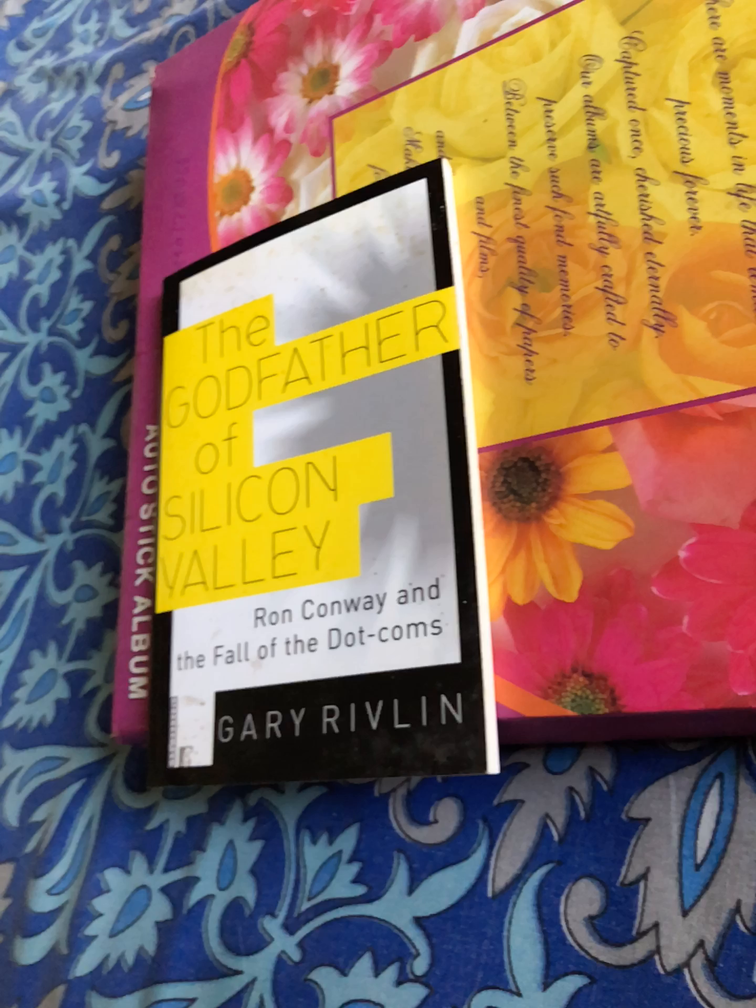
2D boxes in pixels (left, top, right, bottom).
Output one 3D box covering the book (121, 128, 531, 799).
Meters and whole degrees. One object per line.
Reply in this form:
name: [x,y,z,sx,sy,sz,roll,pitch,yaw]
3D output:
book: [-0.030,-0.010,0.310,0.151,0.020,0.220,-12,73,29]
